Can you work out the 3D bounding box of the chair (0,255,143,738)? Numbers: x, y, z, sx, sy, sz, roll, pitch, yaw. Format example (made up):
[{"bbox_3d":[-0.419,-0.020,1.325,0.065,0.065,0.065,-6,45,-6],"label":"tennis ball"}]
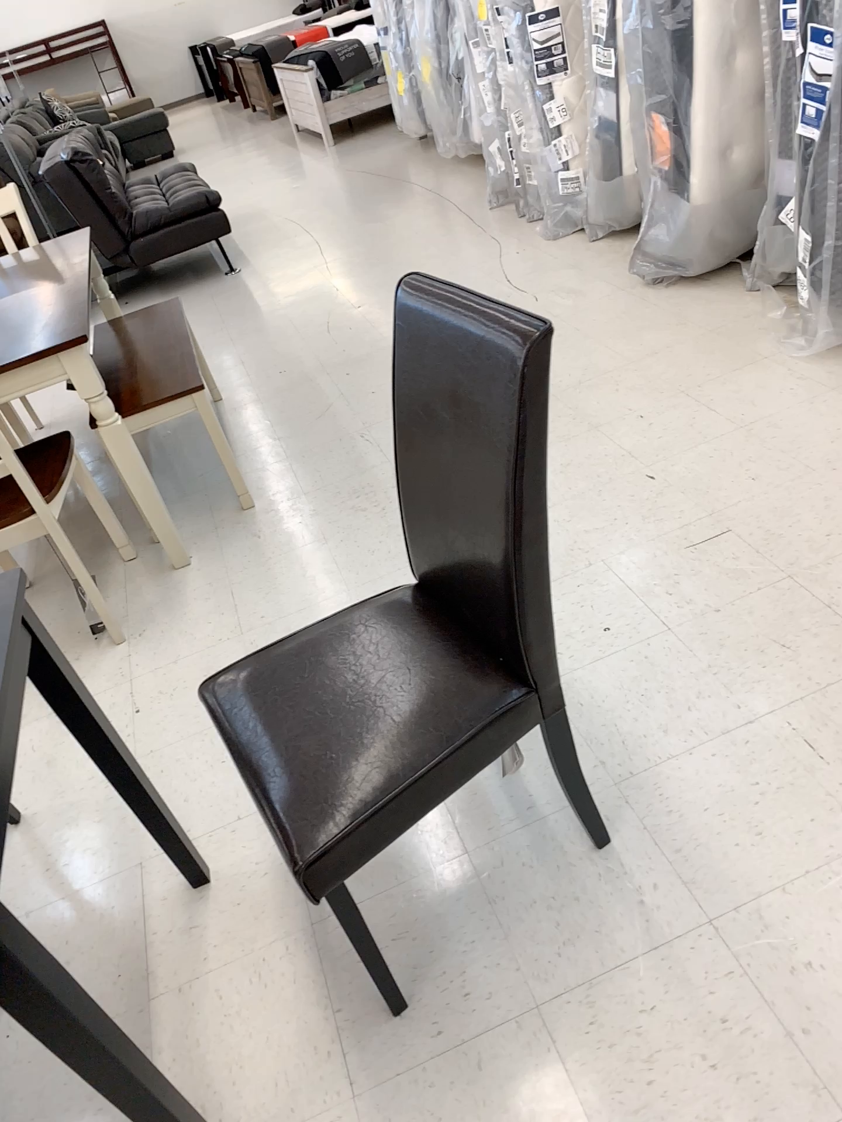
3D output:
[{"bbox_3d":[-1.175,-0.176,2.205,0.464,0.950,0.668,-24,35,-10],"label":"chair"}]

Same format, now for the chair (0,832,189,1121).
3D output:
[{"bbox_3d":[-0.651,0.794,0.647,0.414,0.930,0.597,-32,37,-20],"label":"chair"}]

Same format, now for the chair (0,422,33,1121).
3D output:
[{"bbox_3d":[-1.093,0.355,1.445,0.414,0.930,0.597,-24,35,-9],"label":"chair"}]

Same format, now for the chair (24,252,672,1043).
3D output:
[{"bbox_3d":[-0.041,0.137,1.279,0.594,0.930,0.426,-29,36,-16],"label":"chair"}]
